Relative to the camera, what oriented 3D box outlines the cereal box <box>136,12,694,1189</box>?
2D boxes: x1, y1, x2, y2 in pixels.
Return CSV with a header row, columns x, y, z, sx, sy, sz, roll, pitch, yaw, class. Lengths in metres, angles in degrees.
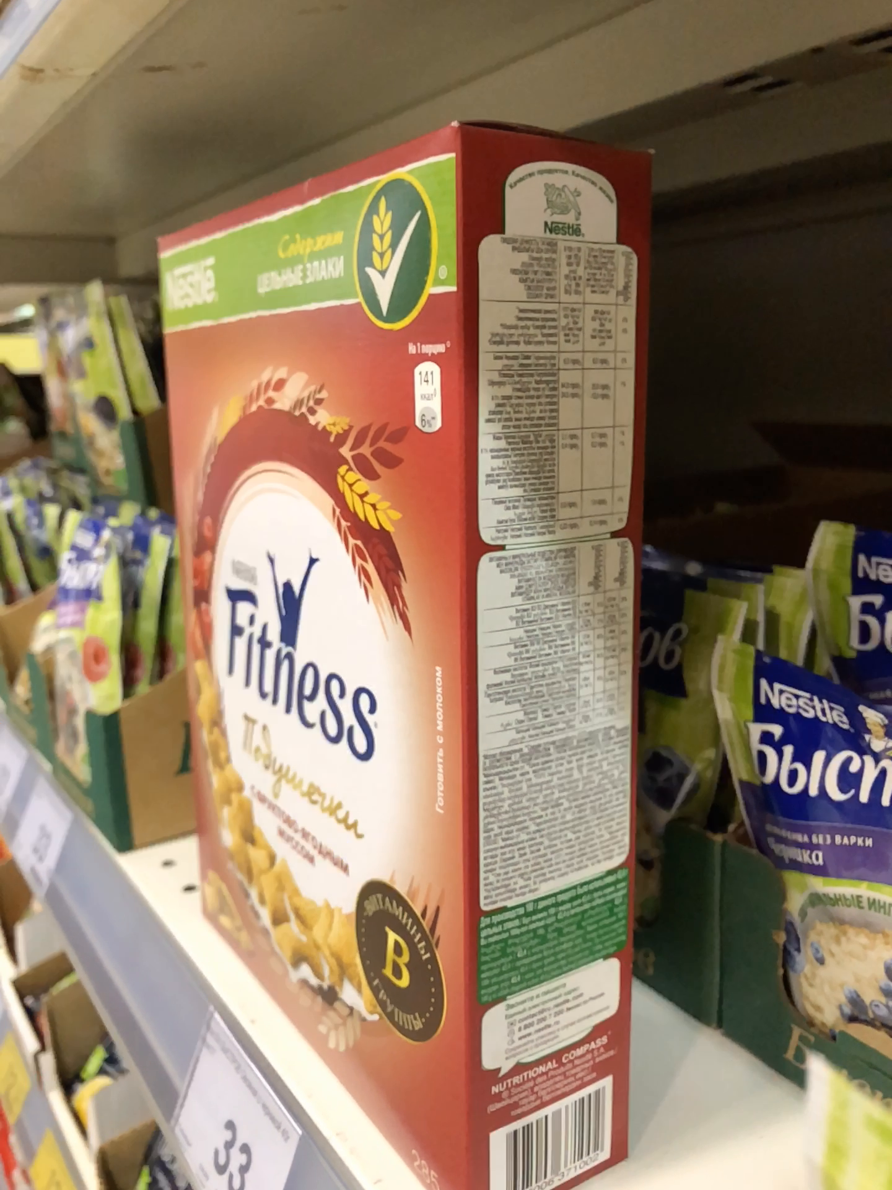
x,y,z,sx,sy,sz,roll,pitch,yaw,class
-0.022,0.007,0.268,0.050,0.239,0.180,-8,13,-32,cereal box
